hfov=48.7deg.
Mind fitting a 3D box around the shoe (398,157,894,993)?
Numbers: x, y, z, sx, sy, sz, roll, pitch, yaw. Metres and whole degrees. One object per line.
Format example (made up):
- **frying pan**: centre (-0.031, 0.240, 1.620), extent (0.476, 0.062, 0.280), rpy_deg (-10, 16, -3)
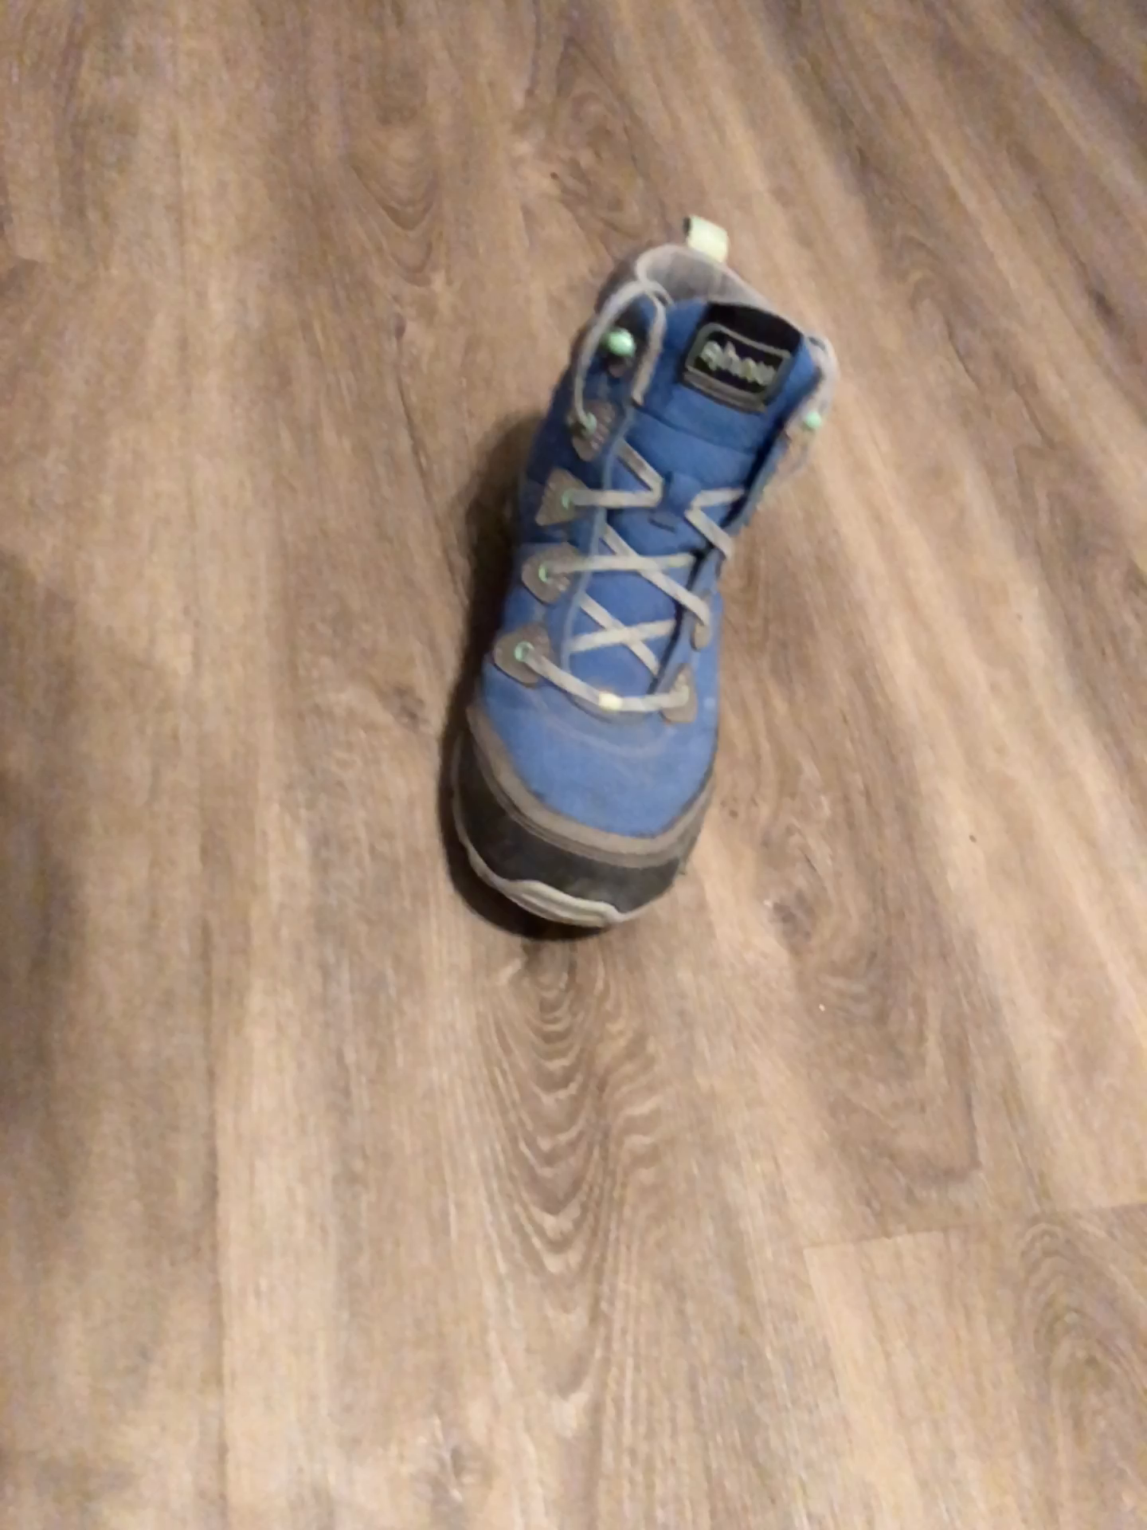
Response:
- **shoe**: centre (0.021, -0.071, 0.452), extent (0.100, 0.139, 0.251), rpy_deg (15, 51, -14)
